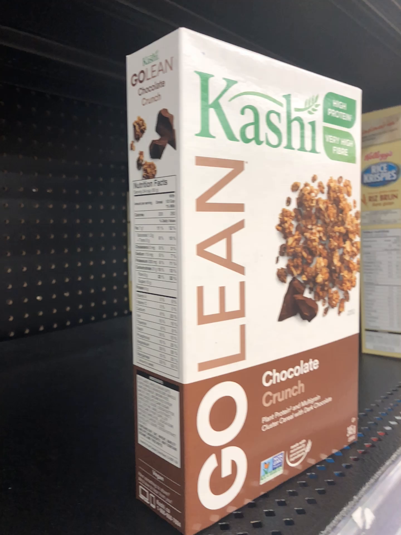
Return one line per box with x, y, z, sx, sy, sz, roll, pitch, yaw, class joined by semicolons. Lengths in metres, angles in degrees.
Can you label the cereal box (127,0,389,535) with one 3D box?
0.047;0.000;0.282;0.180;0.250;0.050;-4;6;-41;cereal box
